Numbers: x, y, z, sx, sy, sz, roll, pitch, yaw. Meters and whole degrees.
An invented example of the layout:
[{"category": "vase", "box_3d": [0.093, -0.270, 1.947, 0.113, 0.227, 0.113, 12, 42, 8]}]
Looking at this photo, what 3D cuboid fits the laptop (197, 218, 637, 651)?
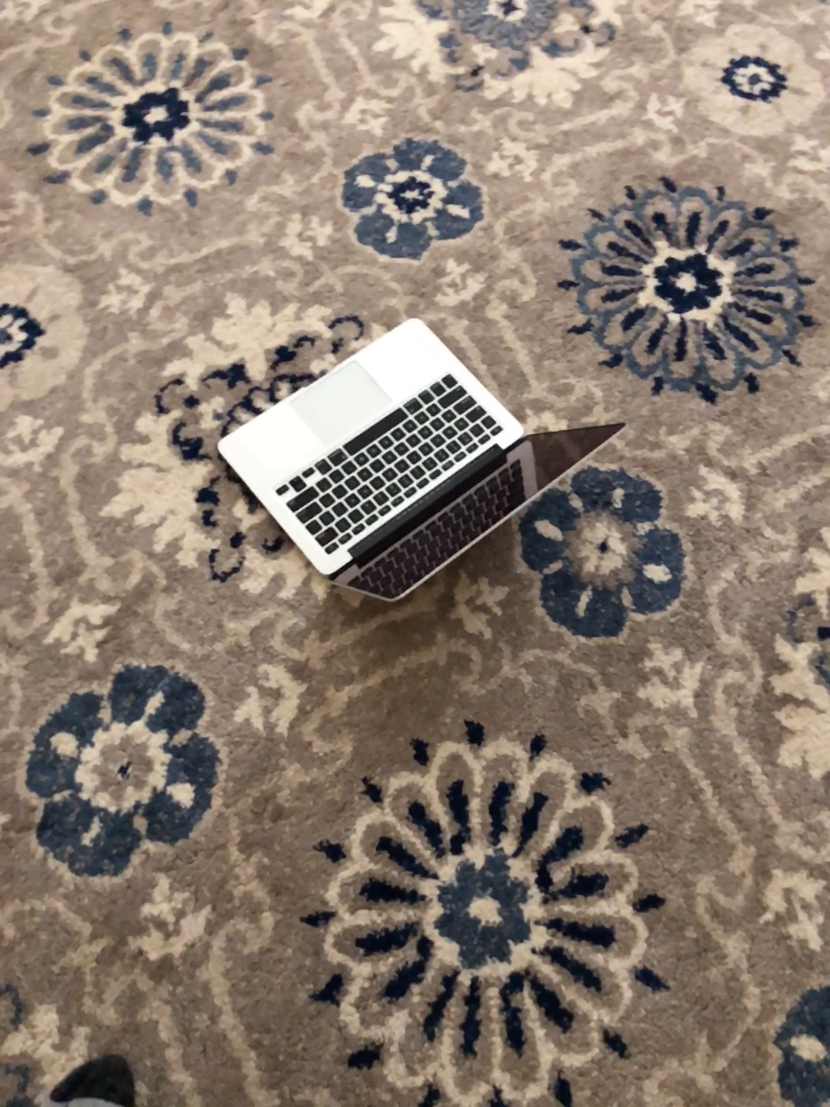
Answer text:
[{"category": "laptop", "box_3d": [-0.002, -0.129, 0.992, 0.300, 0.171, 0.322, -37, 75, -16]}]
